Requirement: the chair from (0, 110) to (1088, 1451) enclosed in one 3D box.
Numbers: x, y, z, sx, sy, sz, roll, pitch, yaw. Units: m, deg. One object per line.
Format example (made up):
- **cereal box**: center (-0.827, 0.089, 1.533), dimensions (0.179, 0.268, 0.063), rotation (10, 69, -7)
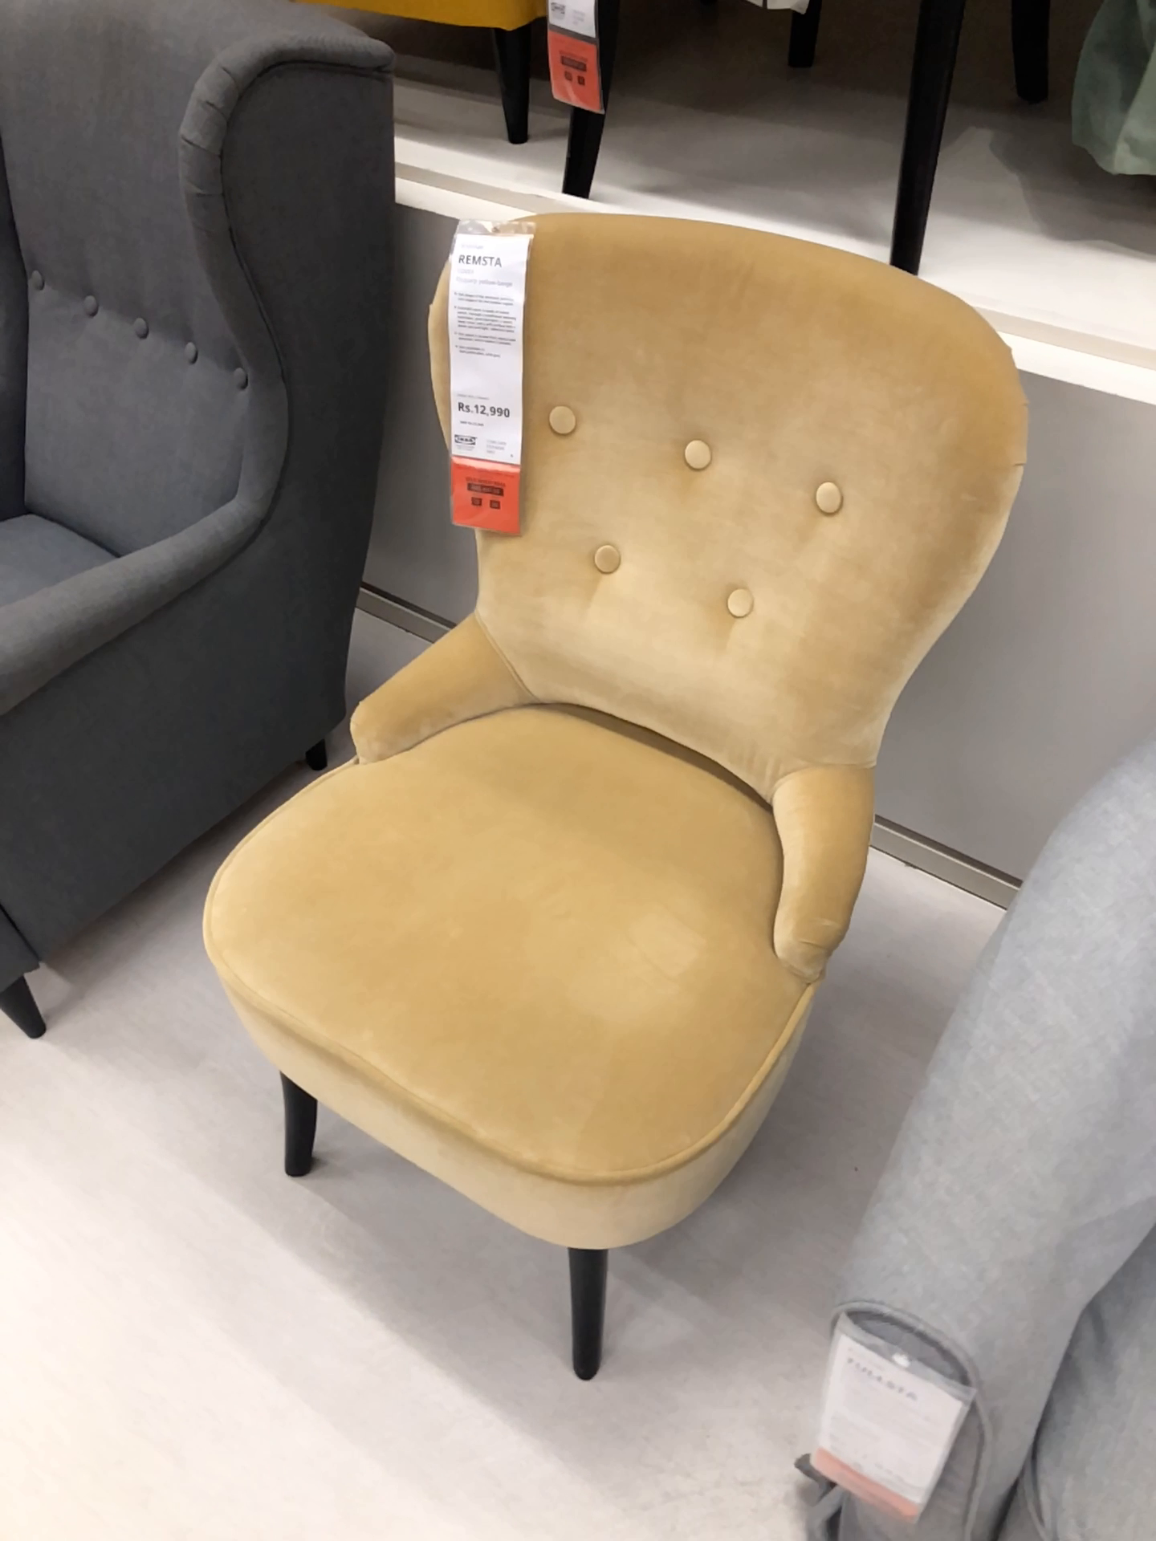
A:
- **chair**: center (-0.037, 0.020, 1.144), dimensions (0.582, 0.865, 0.642), rotation (25, 54, 26)
